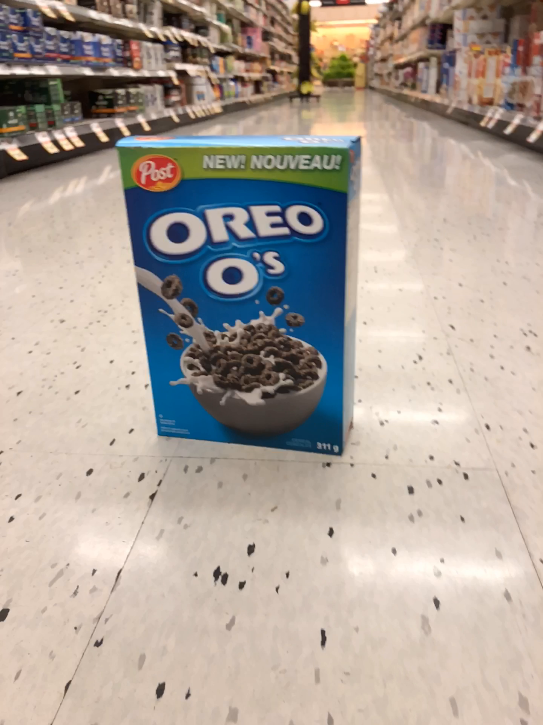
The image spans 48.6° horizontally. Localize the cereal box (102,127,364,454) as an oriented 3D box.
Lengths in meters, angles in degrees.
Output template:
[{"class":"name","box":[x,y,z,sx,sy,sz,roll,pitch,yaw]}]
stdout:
[{"class":"cereal box","box":[-0.026,-0.061,0.533,0.200,0.268,0.060,5,25,14]}]
